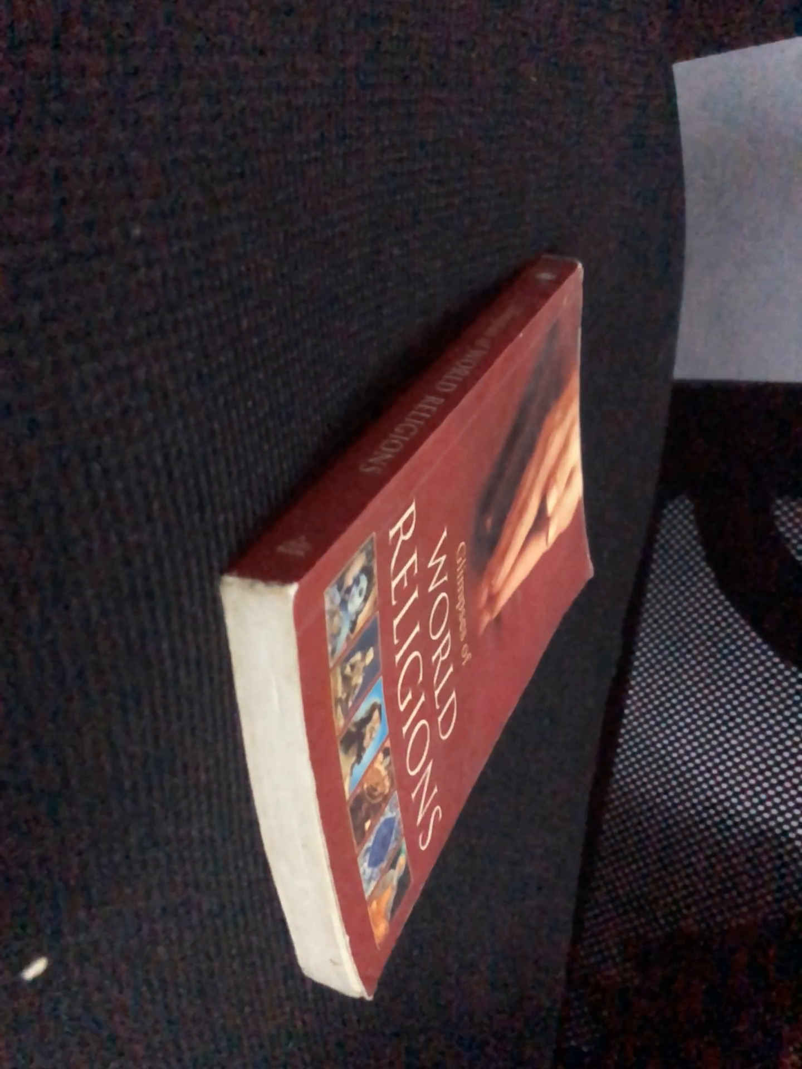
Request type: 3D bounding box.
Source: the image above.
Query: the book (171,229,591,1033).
[{"bbox_3d":[0.017,0.010,0.260,0.201,0.020,0.140,-52,145,-48],"label":"book"}]
